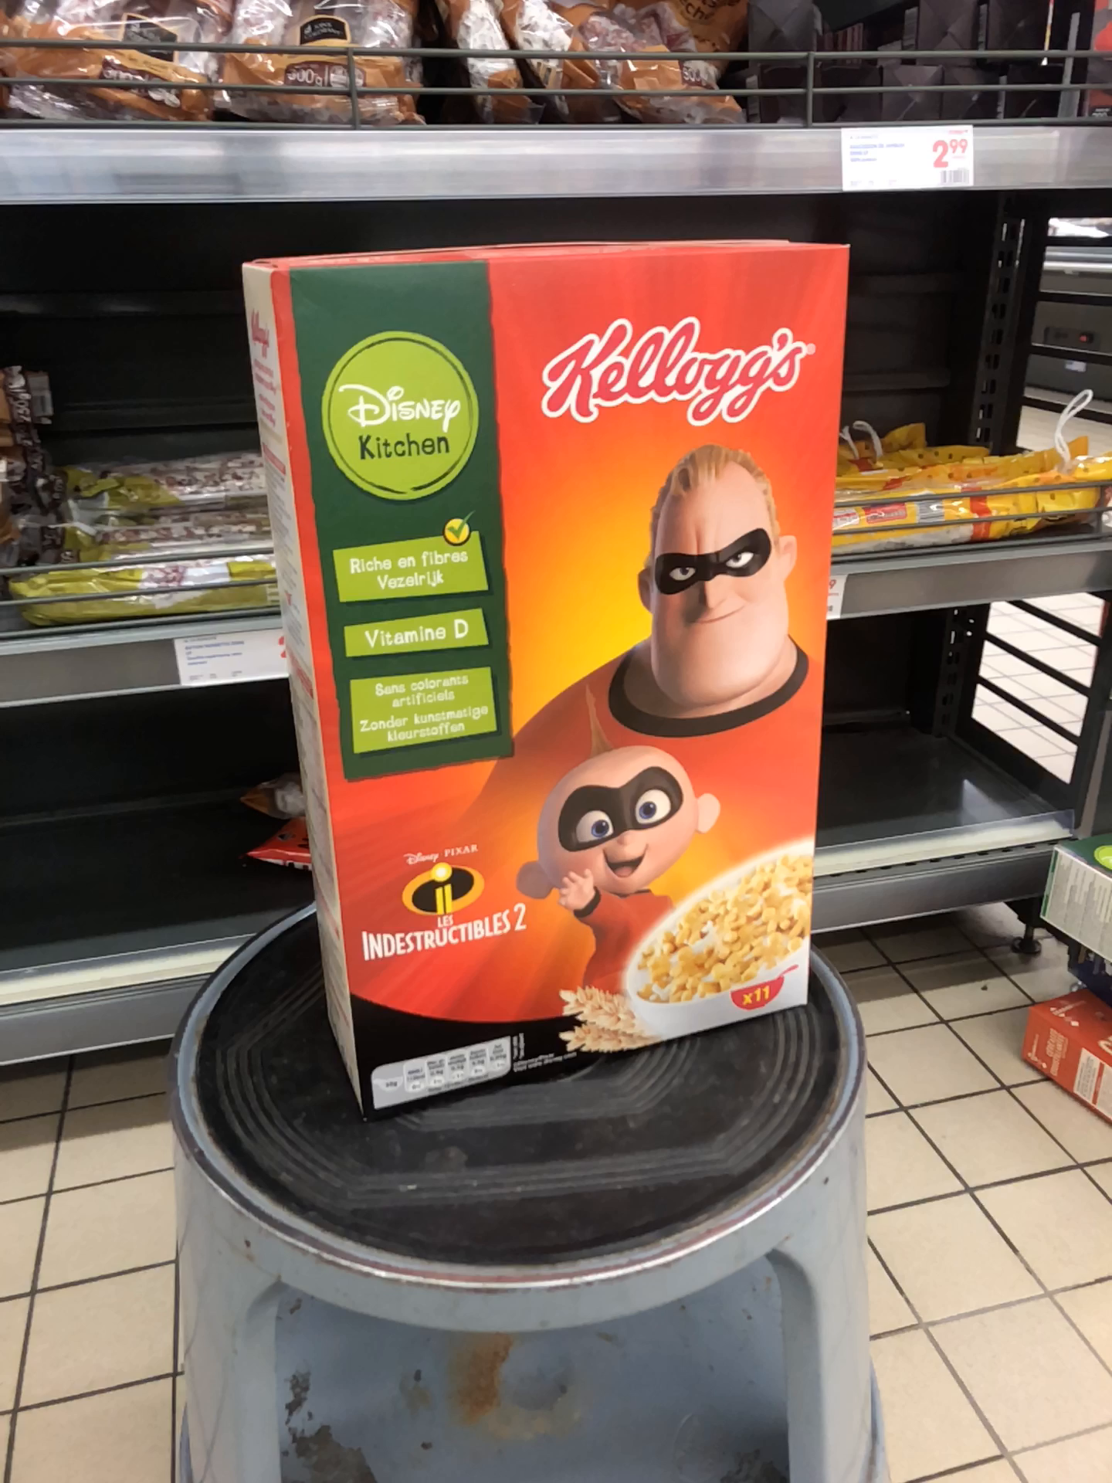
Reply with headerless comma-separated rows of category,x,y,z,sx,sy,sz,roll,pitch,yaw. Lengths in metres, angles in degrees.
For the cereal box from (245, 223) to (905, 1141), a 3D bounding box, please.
cereal box,0.008,-0.025,0.455,0.200,0.308,0.080,-9,23,-18
